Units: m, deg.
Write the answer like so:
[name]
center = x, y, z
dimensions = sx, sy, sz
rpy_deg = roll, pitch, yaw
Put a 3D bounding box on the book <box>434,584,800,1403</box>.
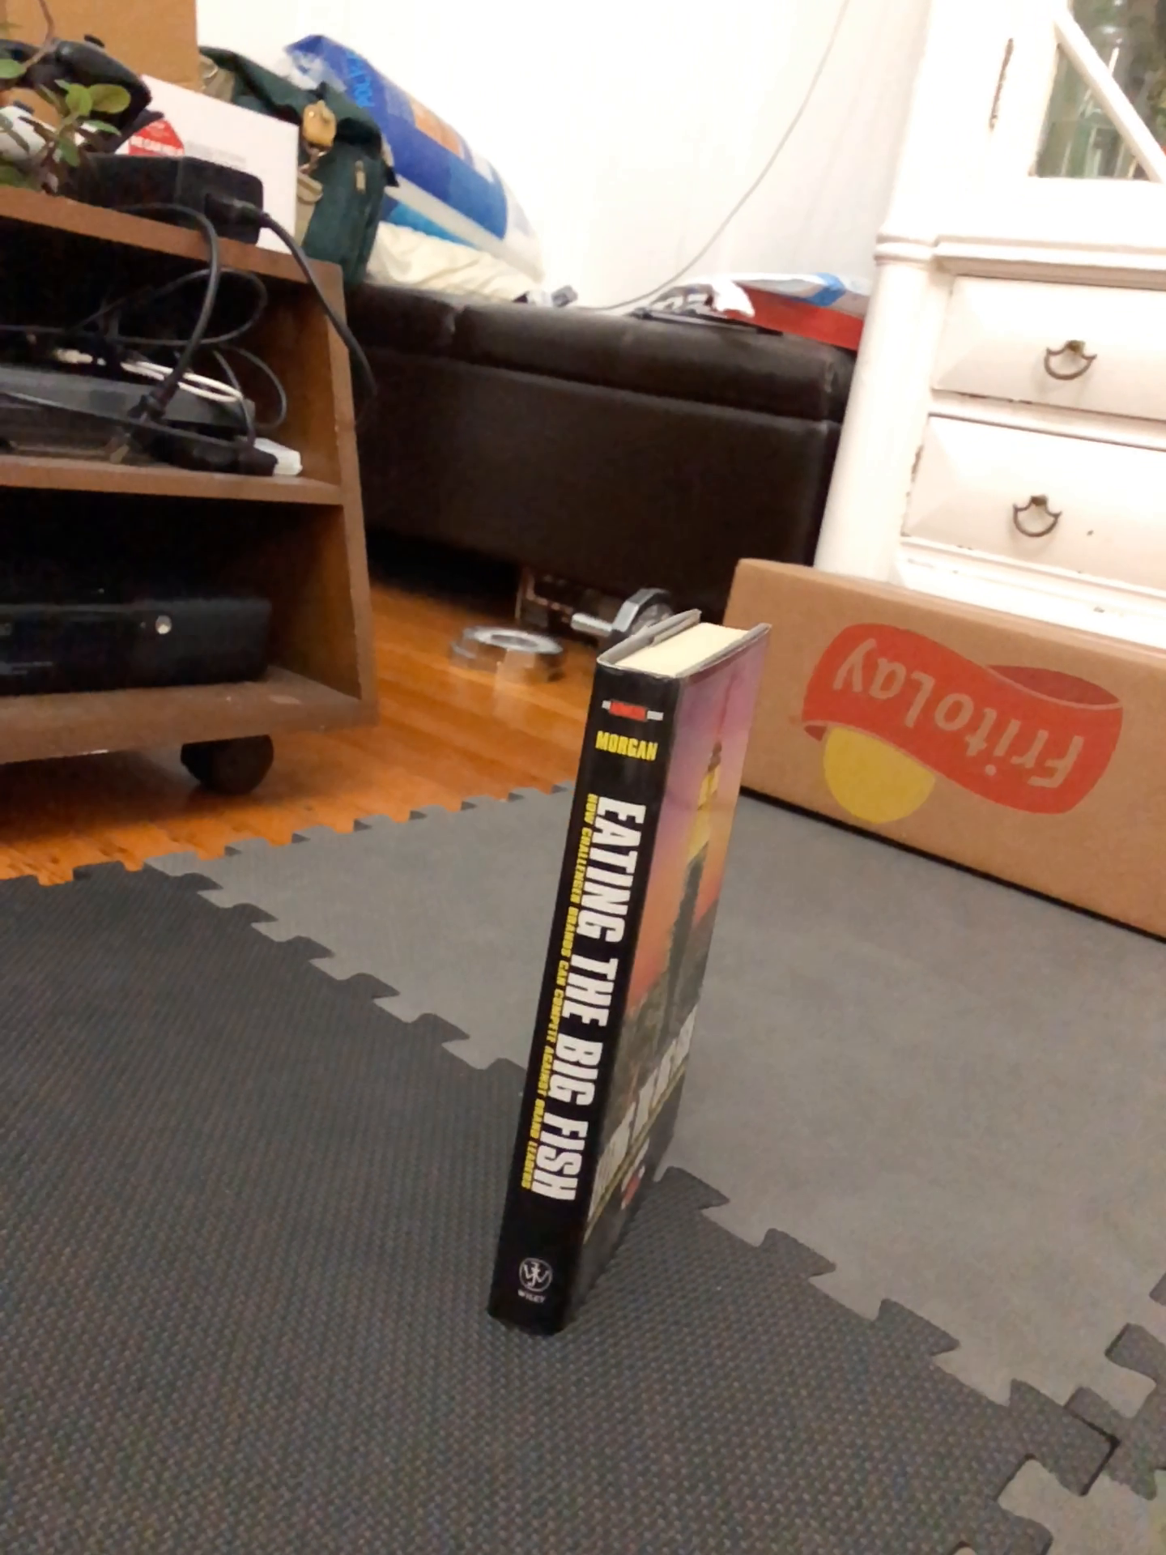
[book]
center = 0.019, 0.066, 0.497
dimensions = 0.050, 0.259, 0.181
rpy_deg = 15, 16, 13
